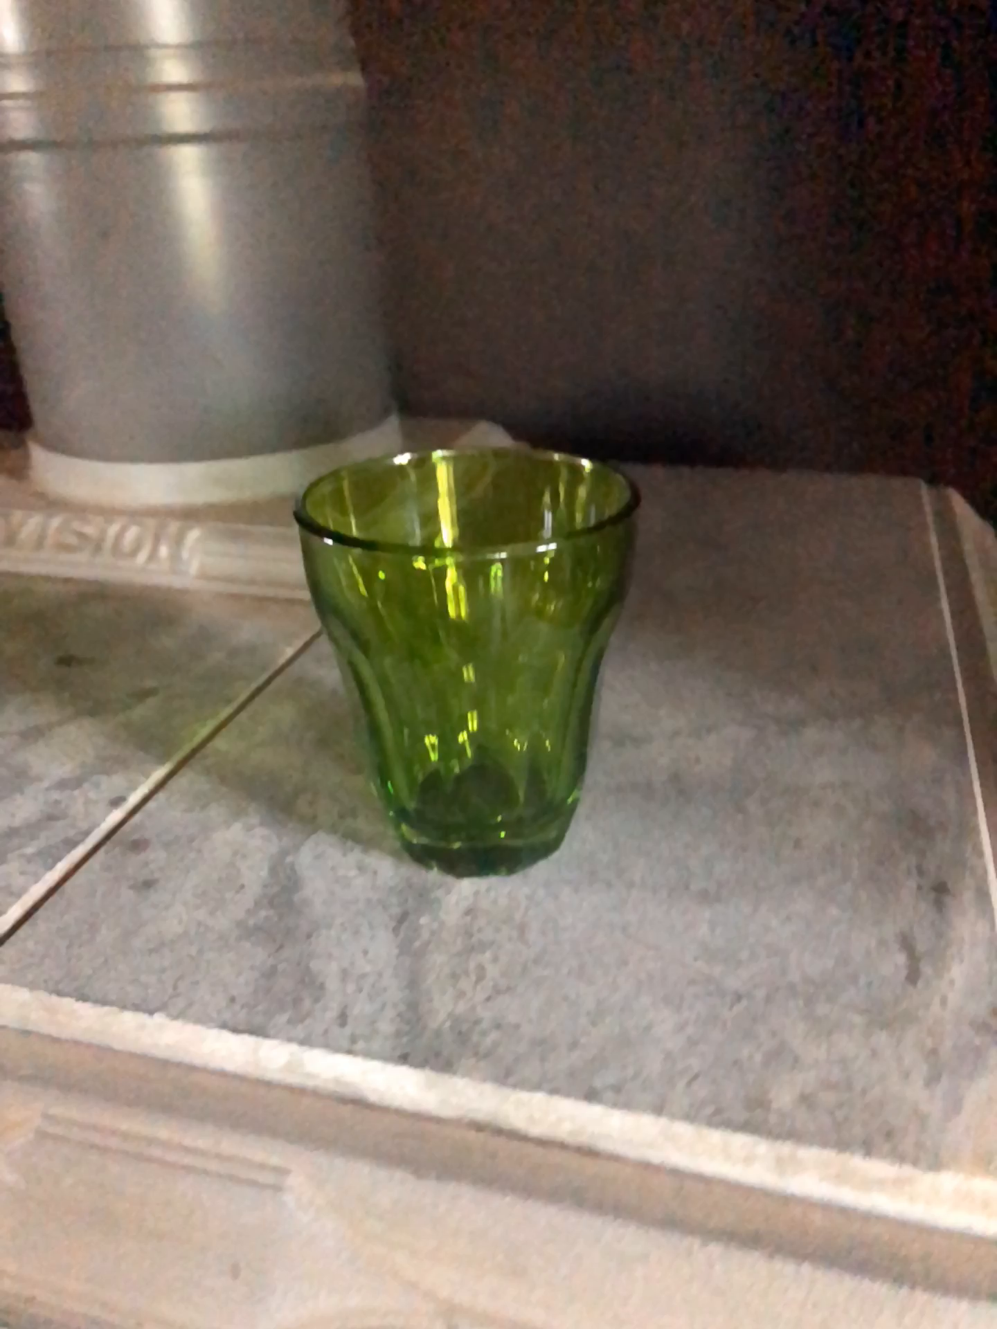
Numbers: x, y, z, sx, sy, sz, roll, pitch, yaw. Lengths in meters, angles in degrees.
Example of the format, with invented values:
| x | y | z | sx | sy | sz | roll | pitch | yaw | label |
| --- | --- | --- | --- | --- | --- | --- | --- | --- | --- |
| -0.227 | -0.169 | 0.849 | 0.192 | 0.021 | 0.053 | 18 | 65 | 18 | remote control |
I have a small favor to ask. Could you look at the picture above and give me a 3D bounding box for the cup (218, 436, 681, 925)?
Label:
| x | y | z | sx | sy | sz | roll | pitch | yaw | label |
| --- | --- | --- | --- | --- | --- | --- | --- | --- | --- |
| -0.004 | -0.002 | 0.258 | 0.080 | 0.080 | 0.081 | -2 | 25 | 1 | cup |
